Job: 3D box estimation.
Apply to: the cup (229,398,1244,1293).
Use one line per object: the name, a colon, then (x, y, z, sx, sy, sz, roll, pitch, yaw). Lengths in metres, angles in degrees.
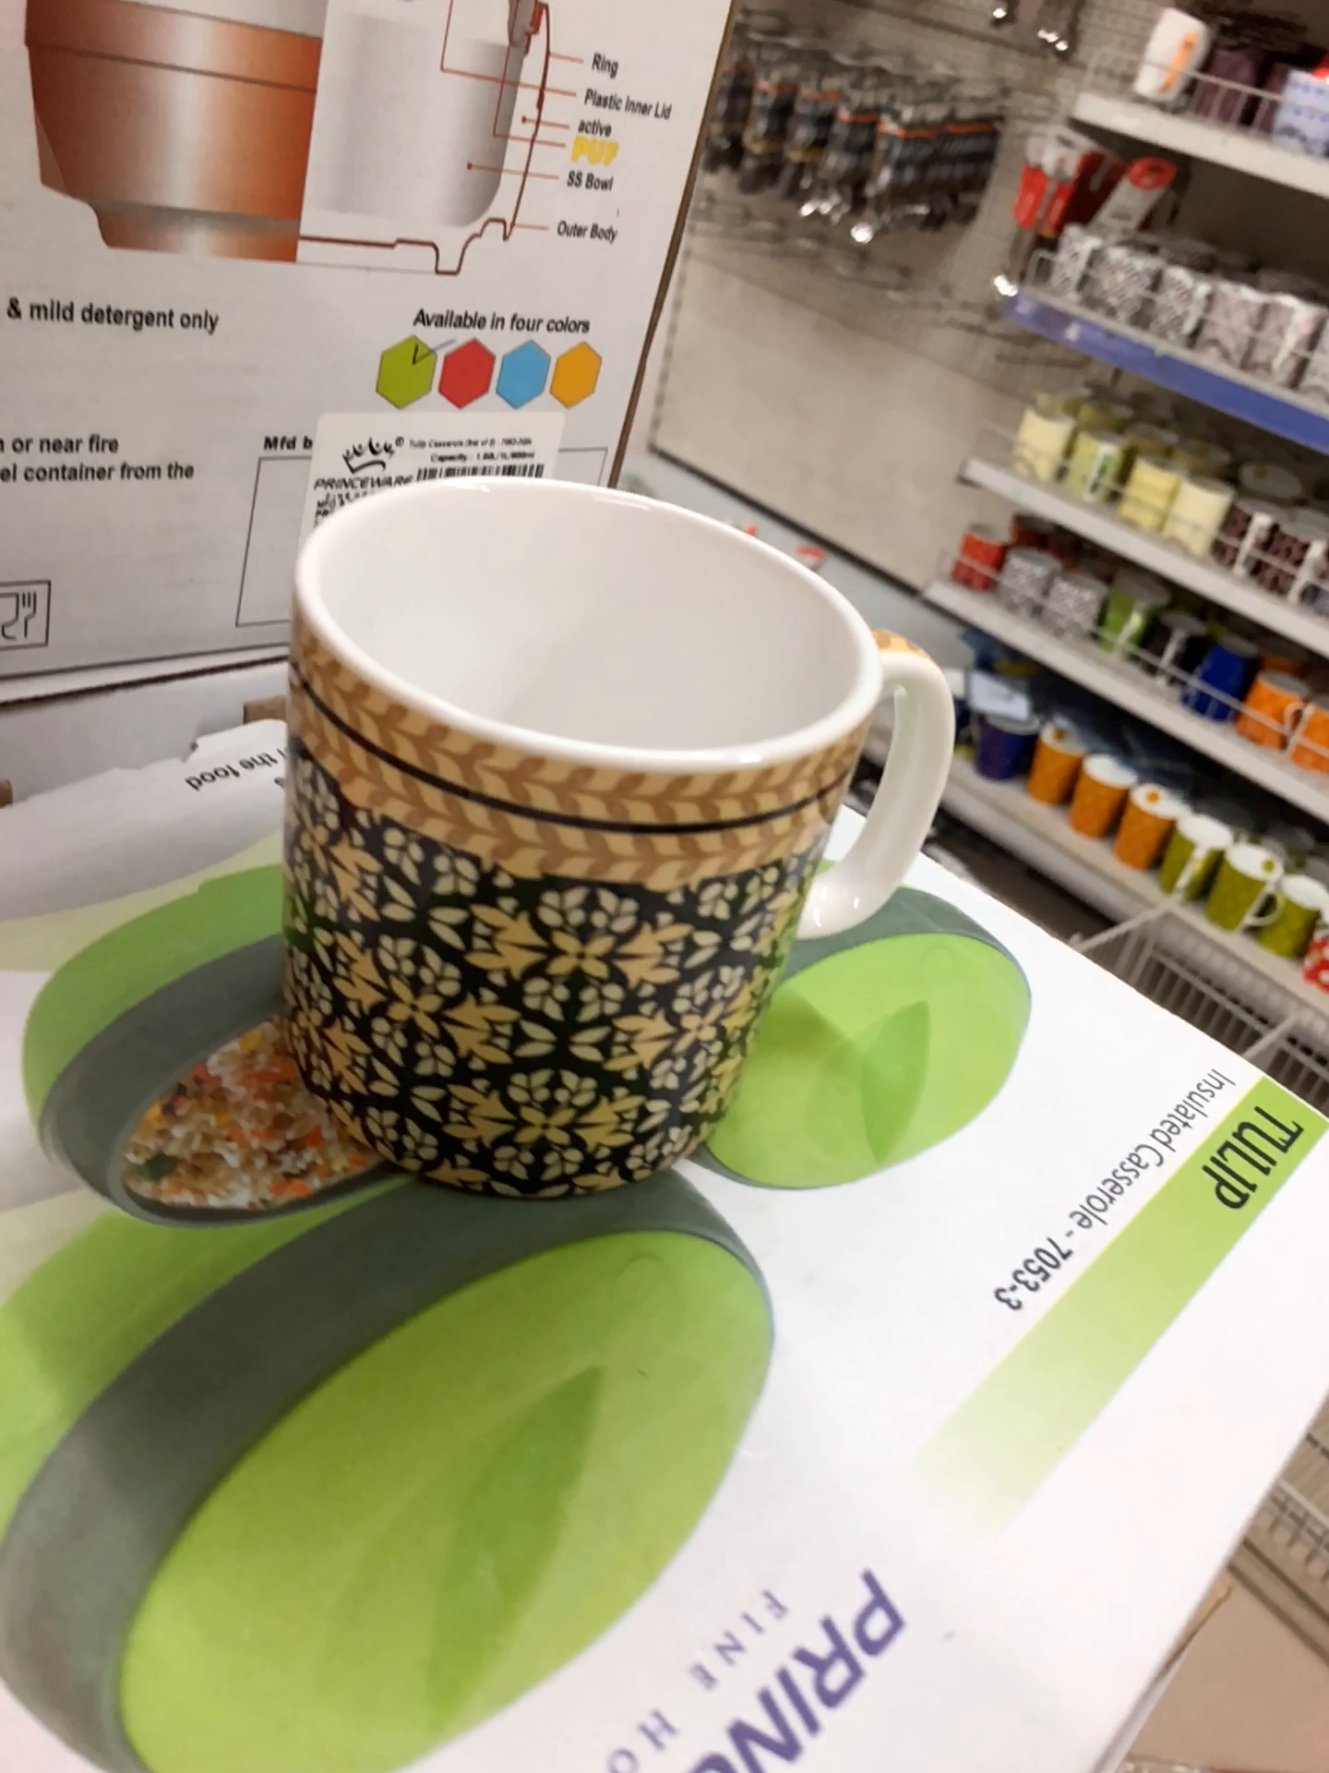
cup: (0.003, -0.012, 0.213, 0.110, 0.089, 0.070, -9, 39, -28)
